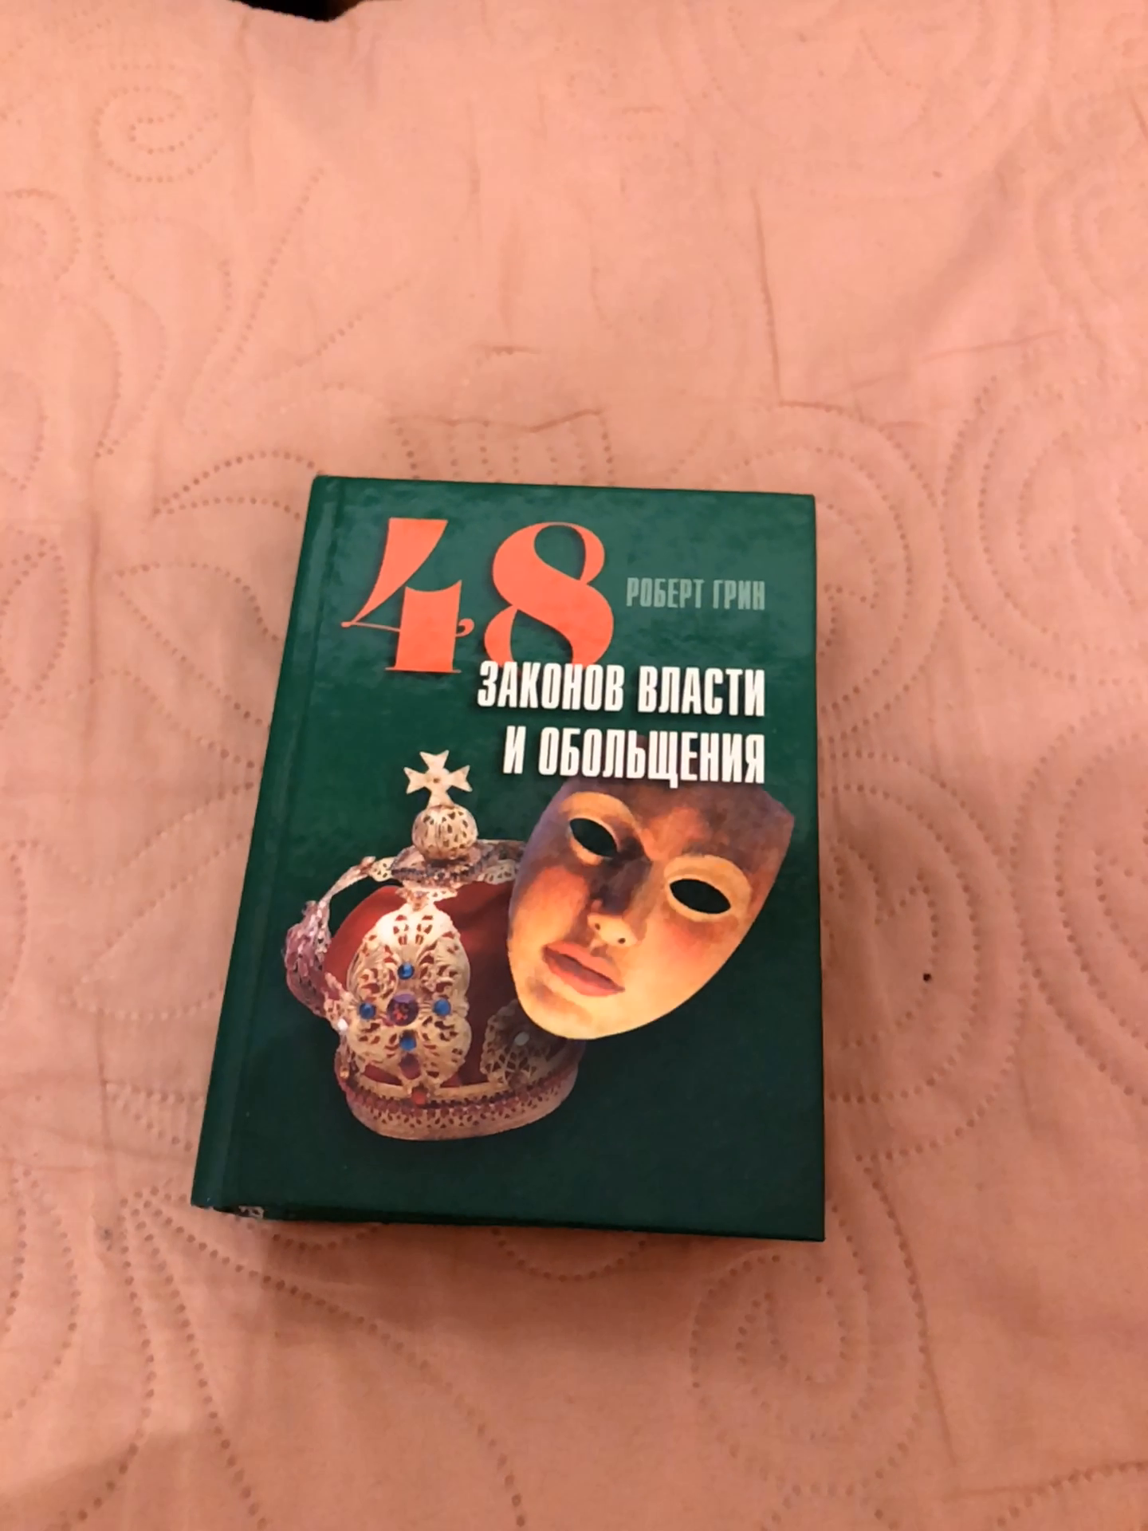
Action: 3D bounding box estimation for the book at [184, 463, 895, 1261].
[{"bbox_3d":[-0.002,0.013,0.241,0.110,0.032,0.143,3,65,0],"label":"book"}]
